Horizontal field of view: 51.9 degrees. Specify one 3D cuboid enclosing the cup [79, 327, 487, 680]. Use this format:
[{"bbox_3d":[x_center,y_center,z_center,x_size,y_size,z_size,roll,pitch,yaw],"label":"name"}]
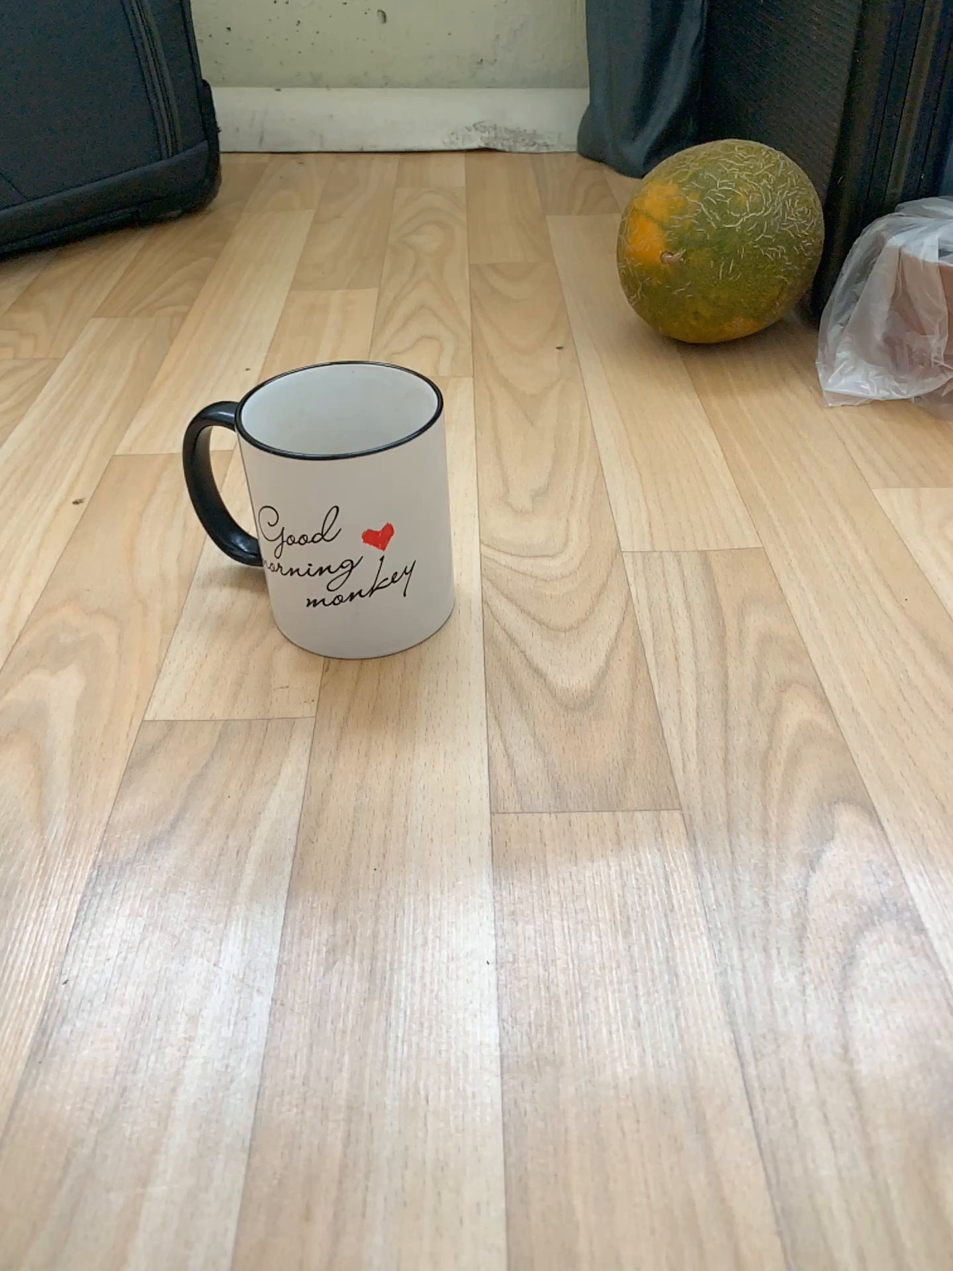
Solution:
[{"bbox_3d":[-0.068,-0.055,0.398,0.130,0.100,0.080,9,41,11],"label":"cup"}]
